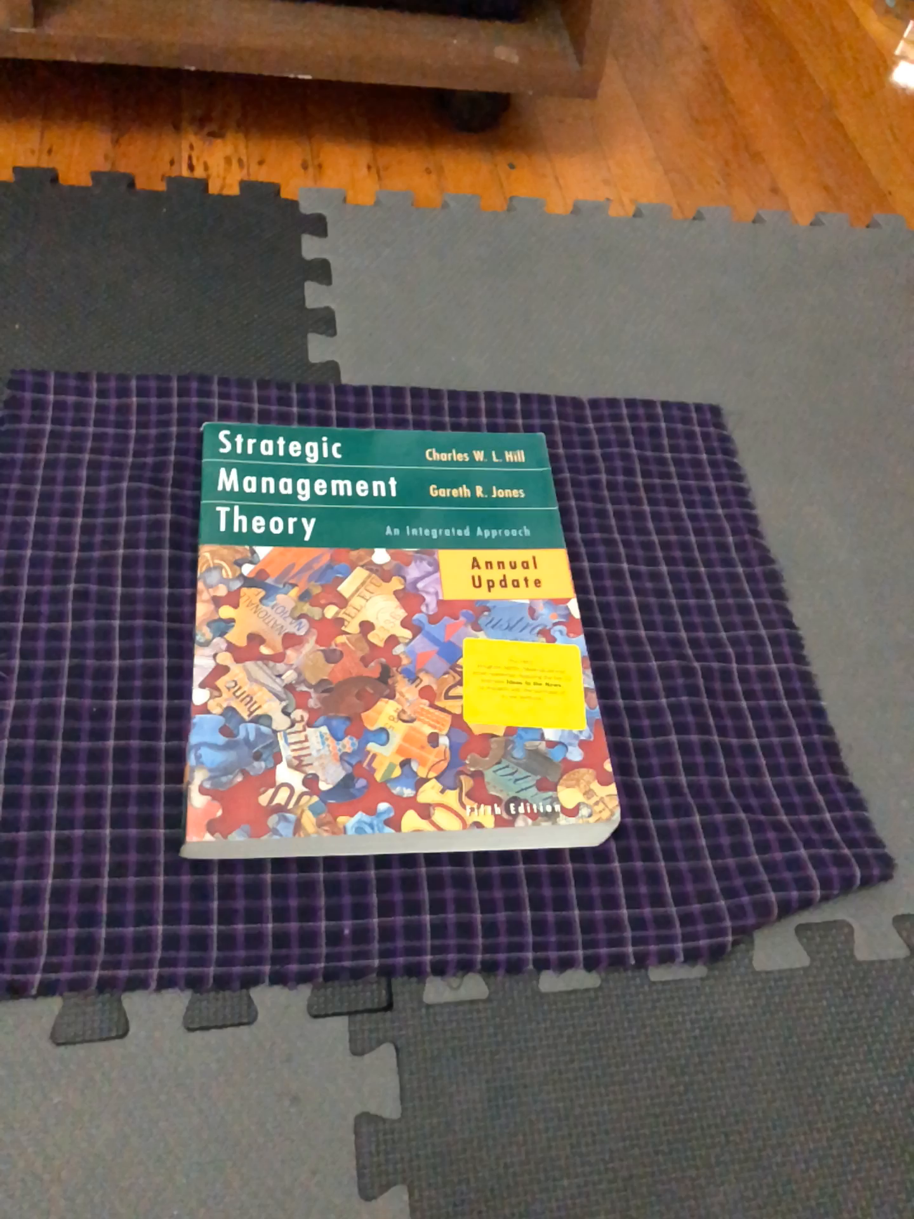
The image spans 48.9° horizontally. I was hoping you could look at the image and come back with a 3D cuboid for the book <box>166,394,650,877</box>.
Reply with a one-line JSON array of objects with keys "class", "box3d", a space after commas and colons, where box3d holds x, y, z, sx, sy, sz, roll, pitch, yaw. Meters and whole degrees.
[{"class": "book", "box3d": [-0.033, 0.001, 0.565, 0.230, 0.040, 0.281, 0, 58, -9]}]
